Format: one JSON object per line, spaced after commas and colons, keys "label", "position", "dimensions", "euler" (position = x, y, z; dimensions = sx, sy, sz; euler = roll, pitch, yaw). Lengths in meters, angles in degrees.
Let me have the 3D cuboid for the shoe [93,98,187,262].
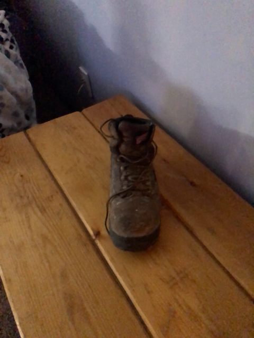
{"label": "shoe", "position": [0.008, 0.005, 0.533], "dimensions": [0.130, 0.130, 0.291], "euler": [-5, 47, -2]}
